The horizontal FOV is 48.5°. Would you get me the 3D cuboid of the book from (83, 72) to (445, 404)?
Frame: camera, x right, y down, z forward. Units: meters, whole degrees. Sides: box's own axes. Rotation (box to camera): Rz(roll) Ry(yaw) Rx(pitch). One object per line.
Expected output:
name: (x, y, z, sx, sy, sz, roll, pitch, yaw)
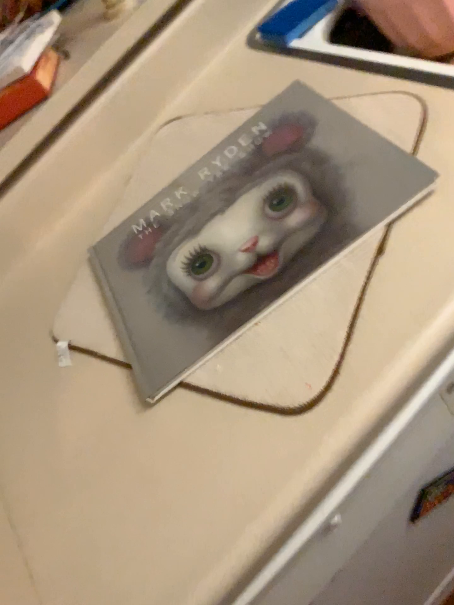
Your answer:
book: (0.005, -0.102, 0.611, 0.380, 0.020, 0.290, -38, 47, 6)
